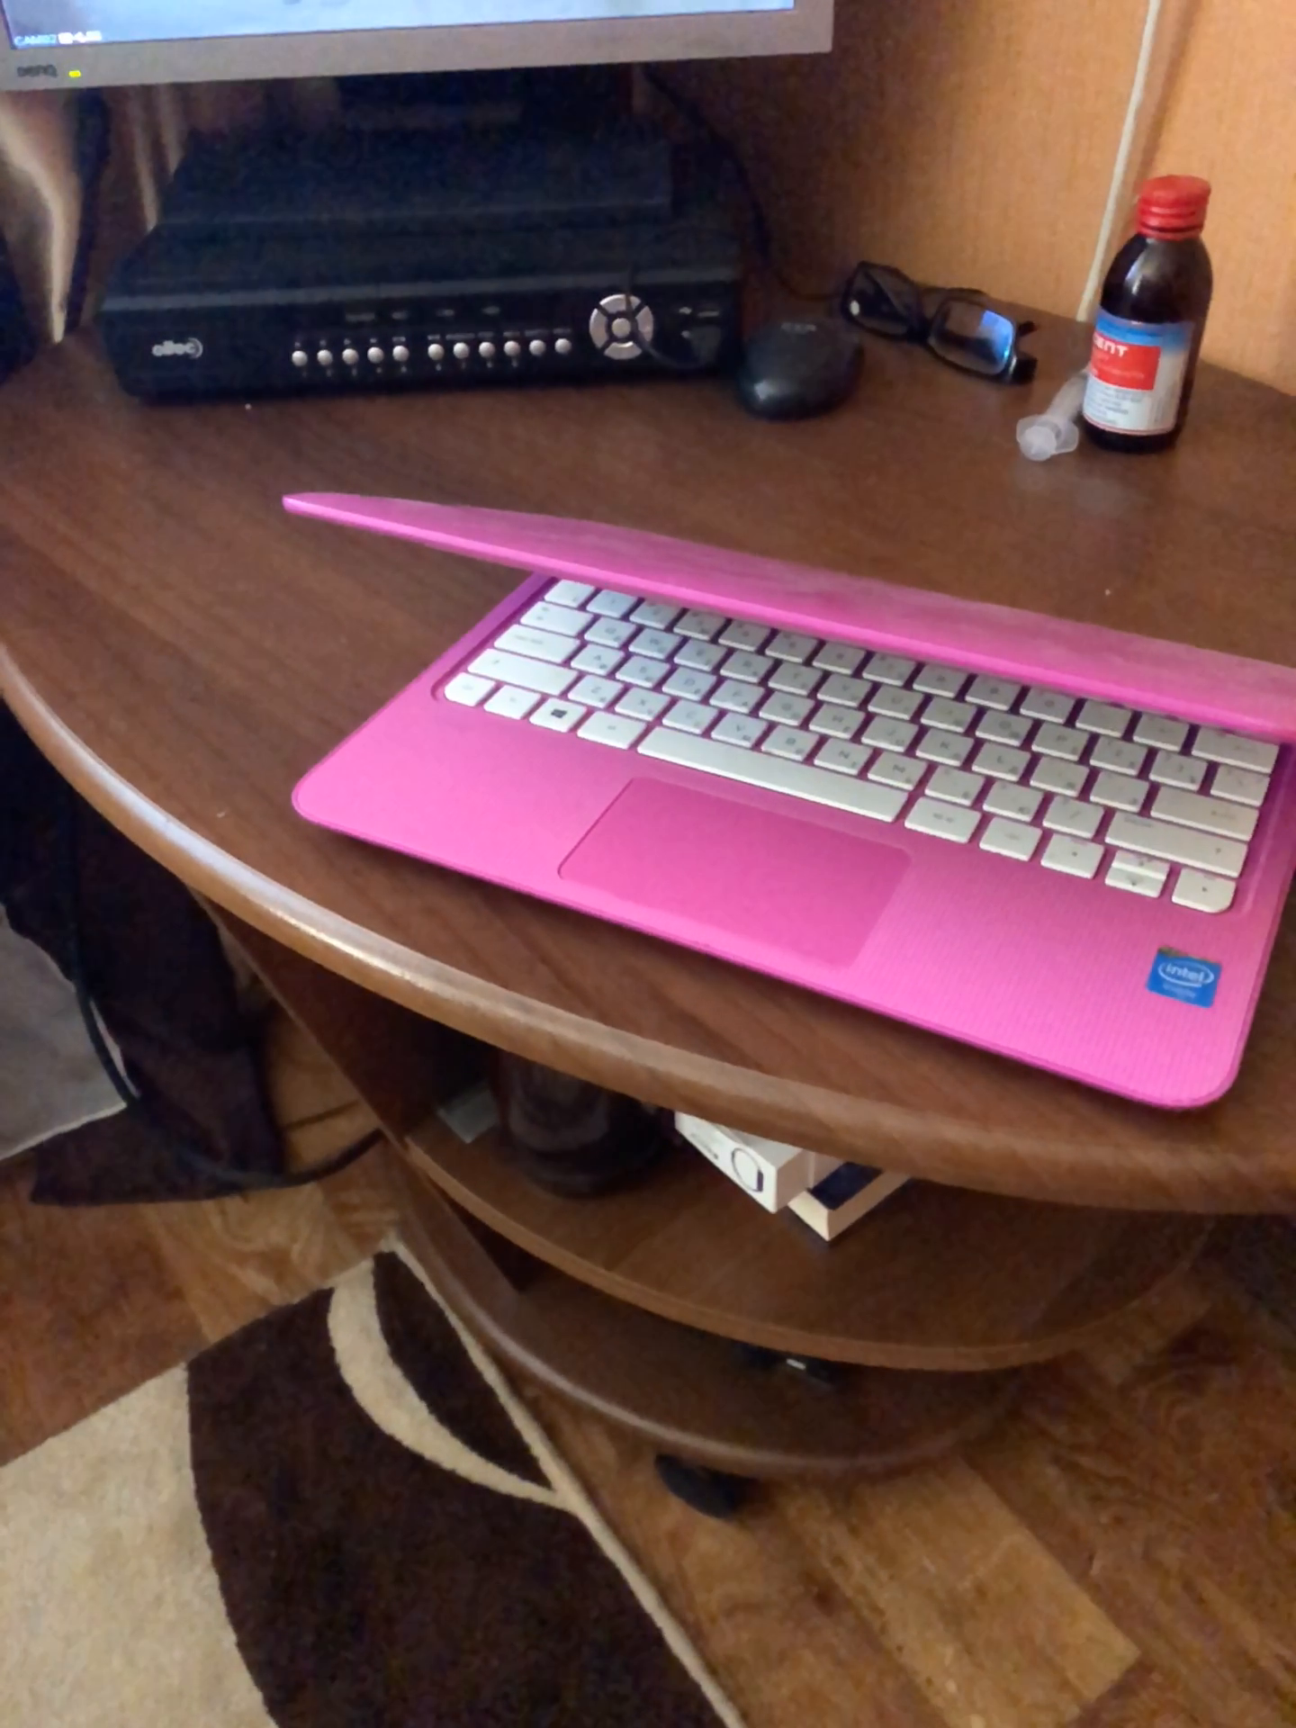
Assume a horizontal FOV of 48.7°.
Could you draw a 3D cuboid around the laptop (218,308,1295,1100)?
[{"bbox_3d":[0.051,-0.069,0.405,0.264,0.081,0.187,17,44,22],"label":"laptop"}]
